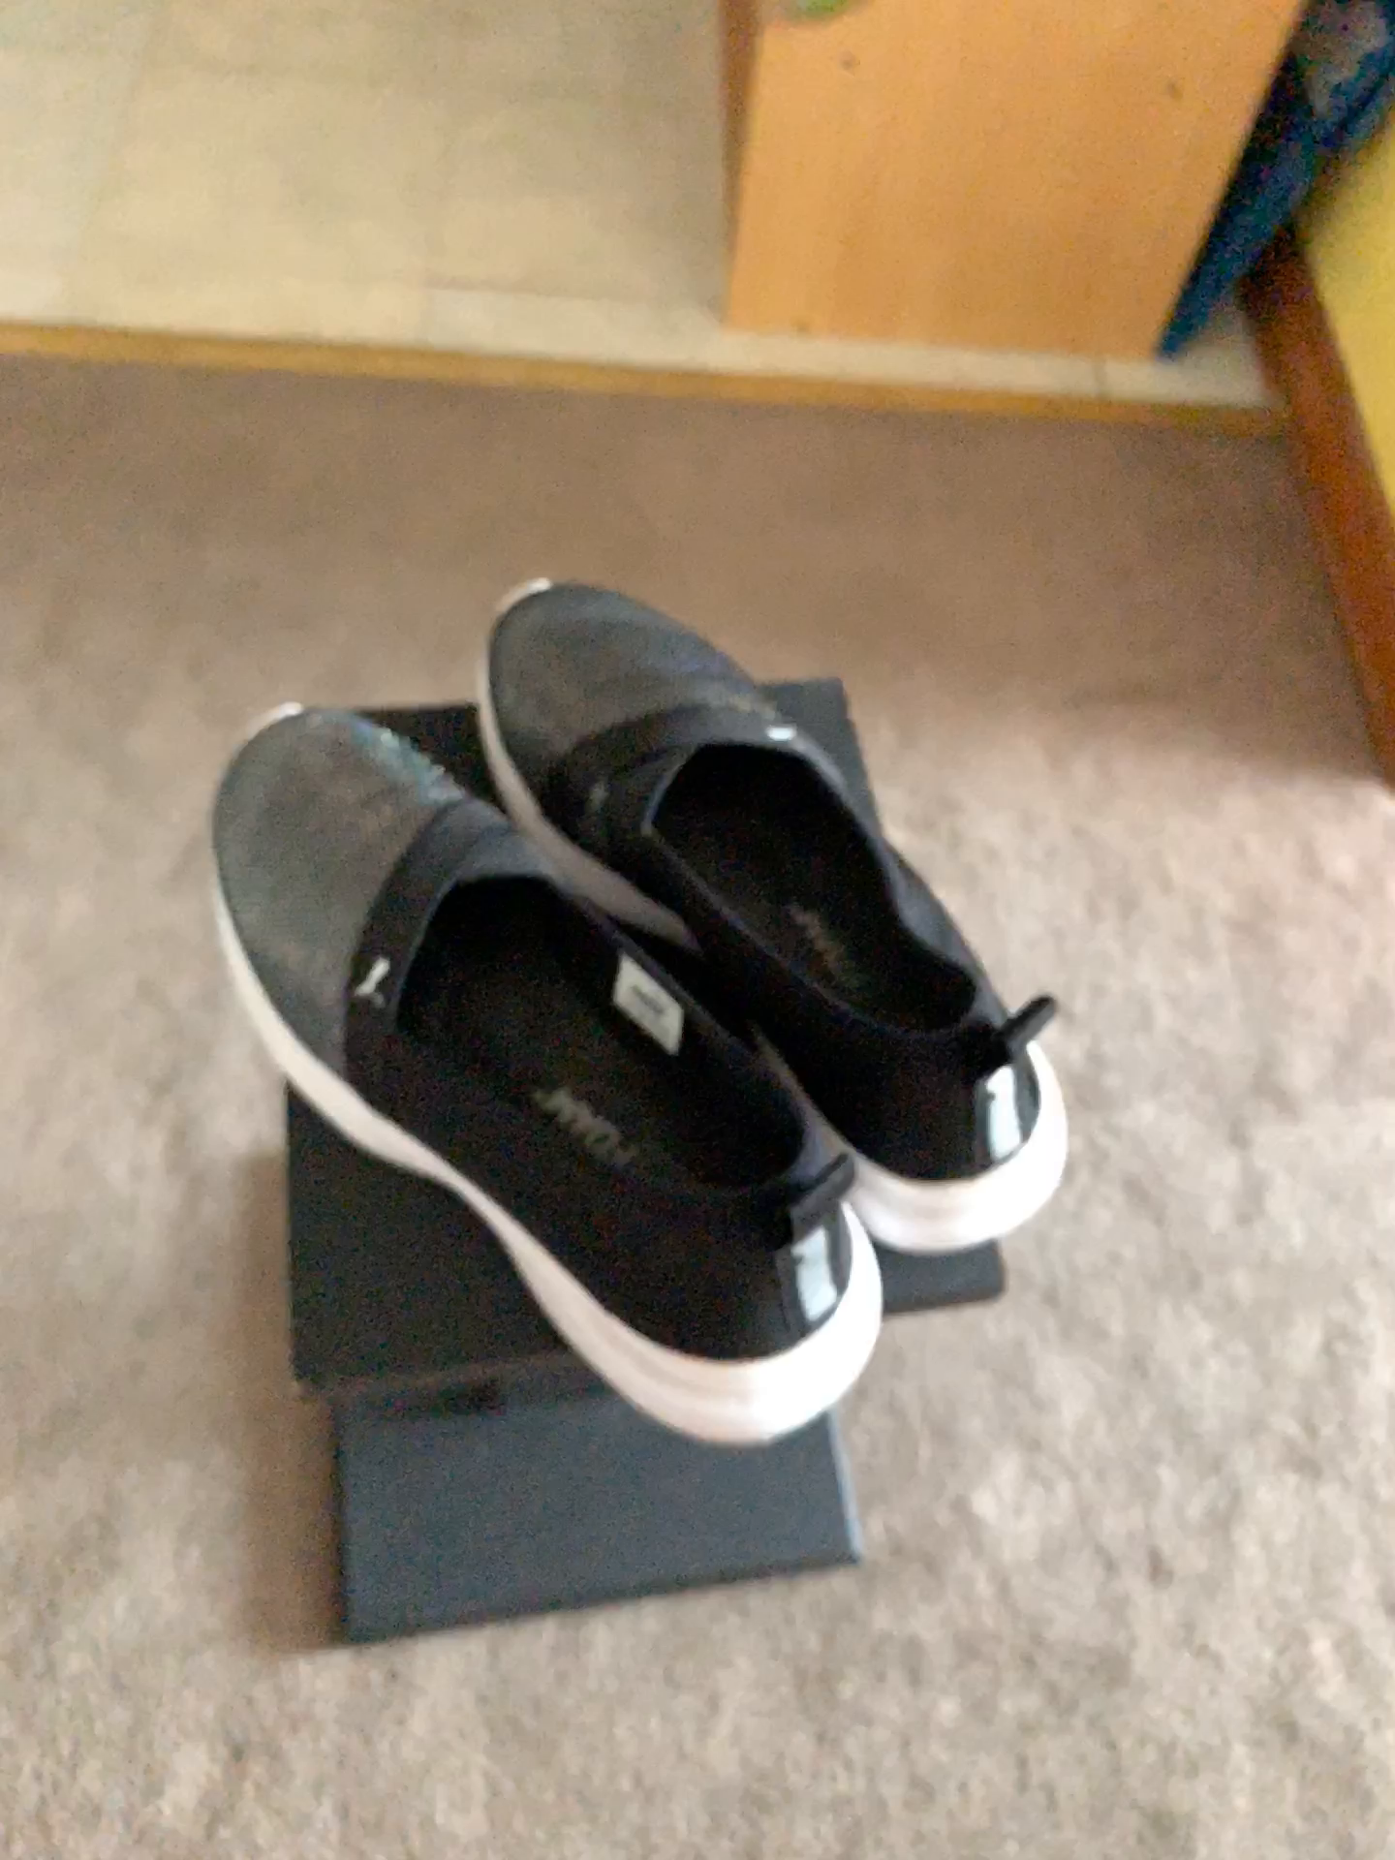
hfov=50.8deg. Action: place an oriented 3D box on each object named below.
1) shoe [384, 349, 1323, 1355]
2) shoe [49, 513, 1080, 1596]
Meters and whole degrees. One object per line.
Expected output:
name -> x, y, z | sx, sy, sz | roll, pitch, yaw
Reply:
shoe -> 0.026, -0.030, 0.416 | 0.100, 0.099, 0.261 | -30, 68, -21
shoe -> -0.043, 0.026, 0.382 | 0.100, 0.099, 0.257 | -35, 70, -23
